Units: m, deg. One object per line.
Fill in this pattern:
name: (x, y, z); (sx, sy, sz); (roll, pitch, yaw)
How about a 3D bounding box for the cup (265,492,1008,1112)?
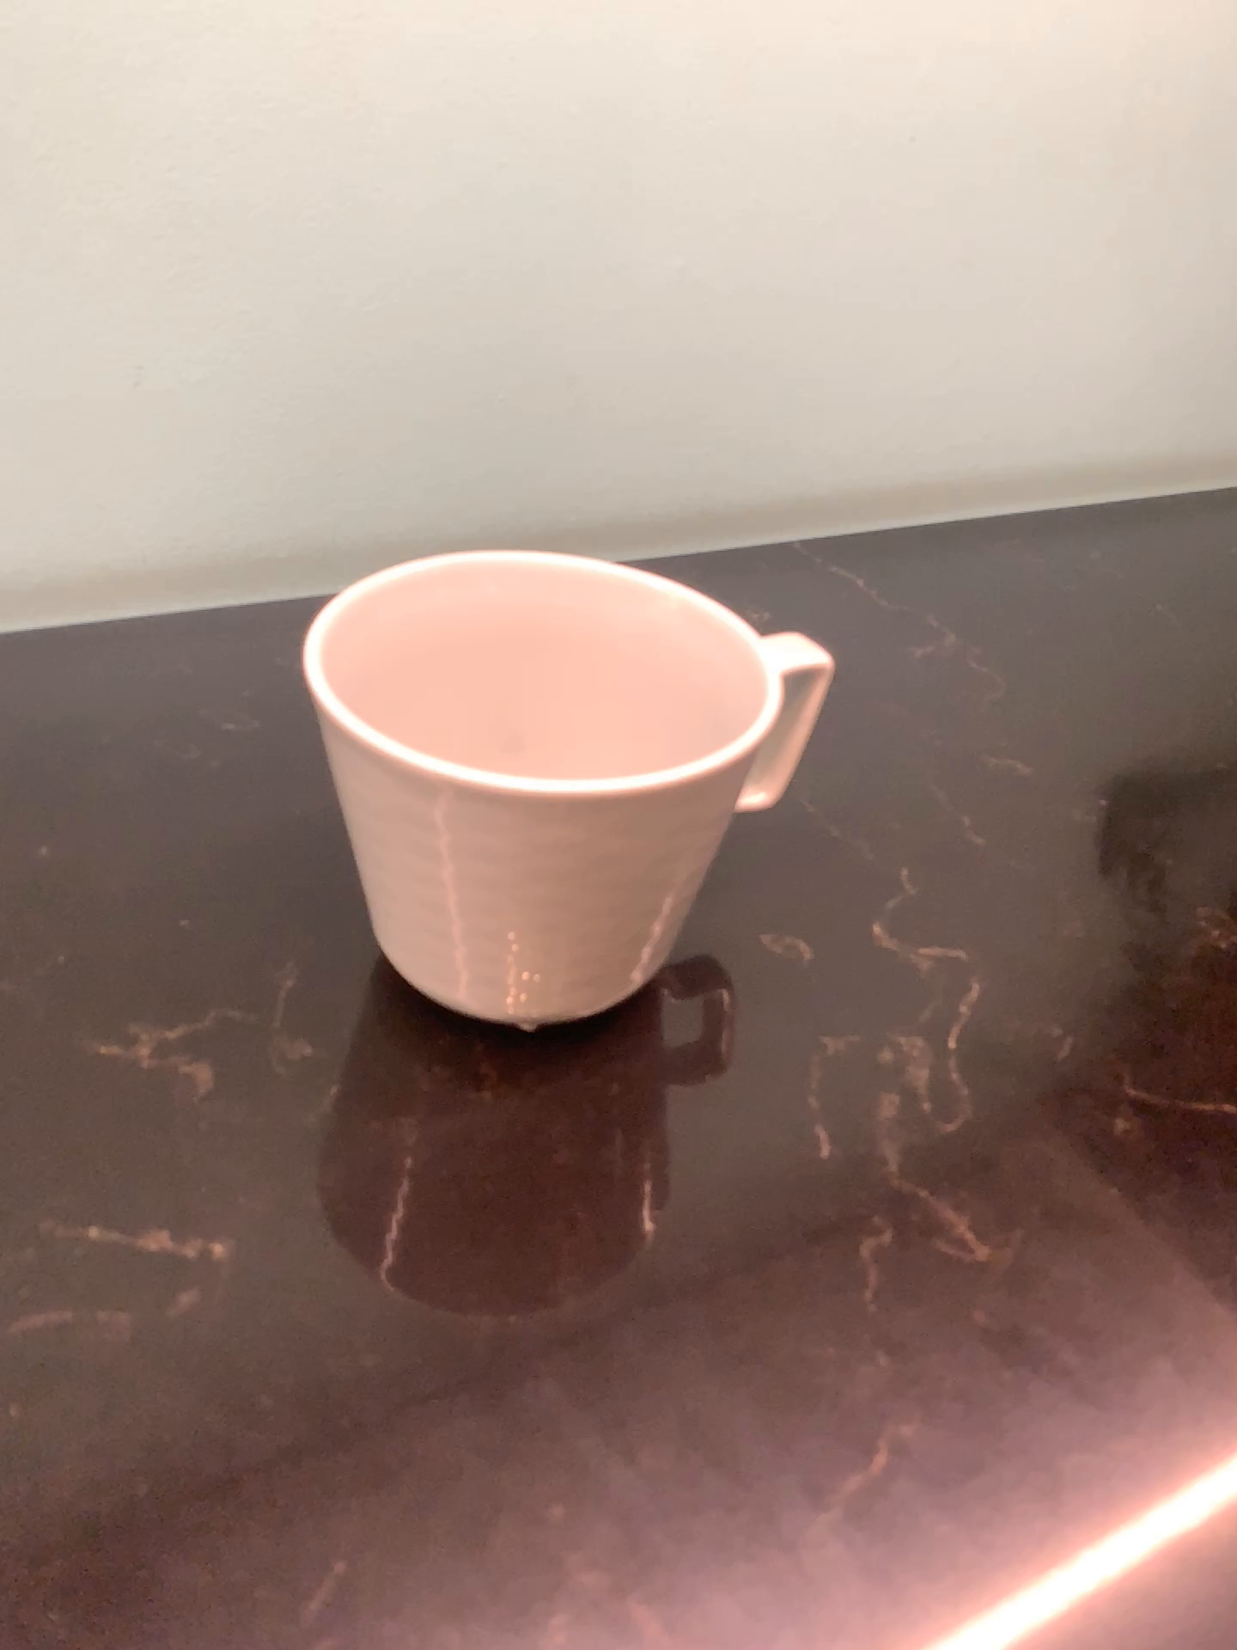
cup: (-0.002, -0.015, 0.295); (0.130, 0.080, 0.100); (-13, 42, -26)
